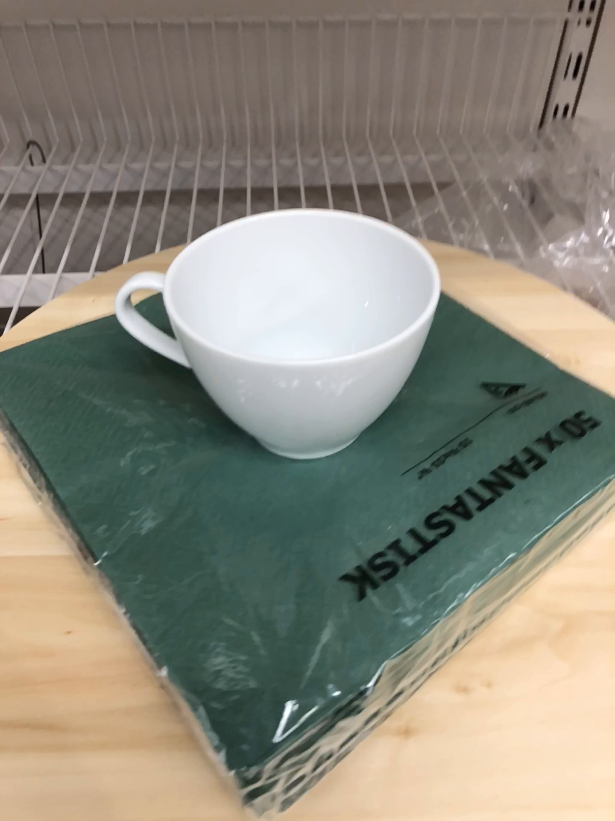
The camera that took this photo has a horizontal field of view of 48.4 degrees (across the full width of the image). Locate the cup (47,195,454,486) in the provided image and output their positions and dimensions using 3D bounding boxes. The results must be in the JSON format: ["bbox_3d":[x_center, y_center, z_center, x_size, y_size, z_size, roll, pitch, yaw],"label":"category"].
[{"bbox_3d":[-0.012,-0.030,0.248,0.120,0.050,0.090,5,45,6],"label":"cup"}]
